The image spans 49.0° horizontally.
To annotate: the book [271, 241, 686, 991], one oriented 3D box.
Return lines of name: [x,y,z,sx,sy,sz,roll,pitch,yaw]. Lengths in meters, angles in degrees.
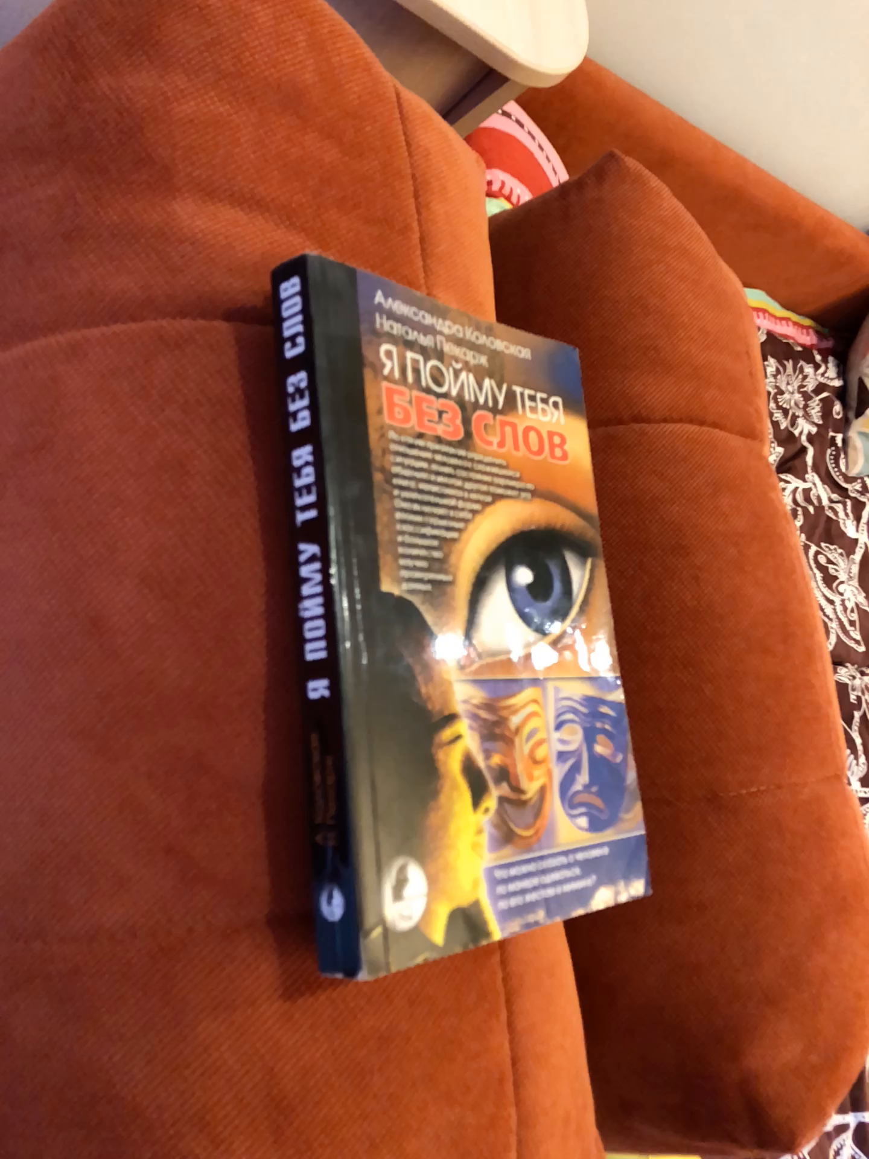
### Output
book: [0.017,0.009,0.294,0.129,0.030,0.190,5,76,-44]
